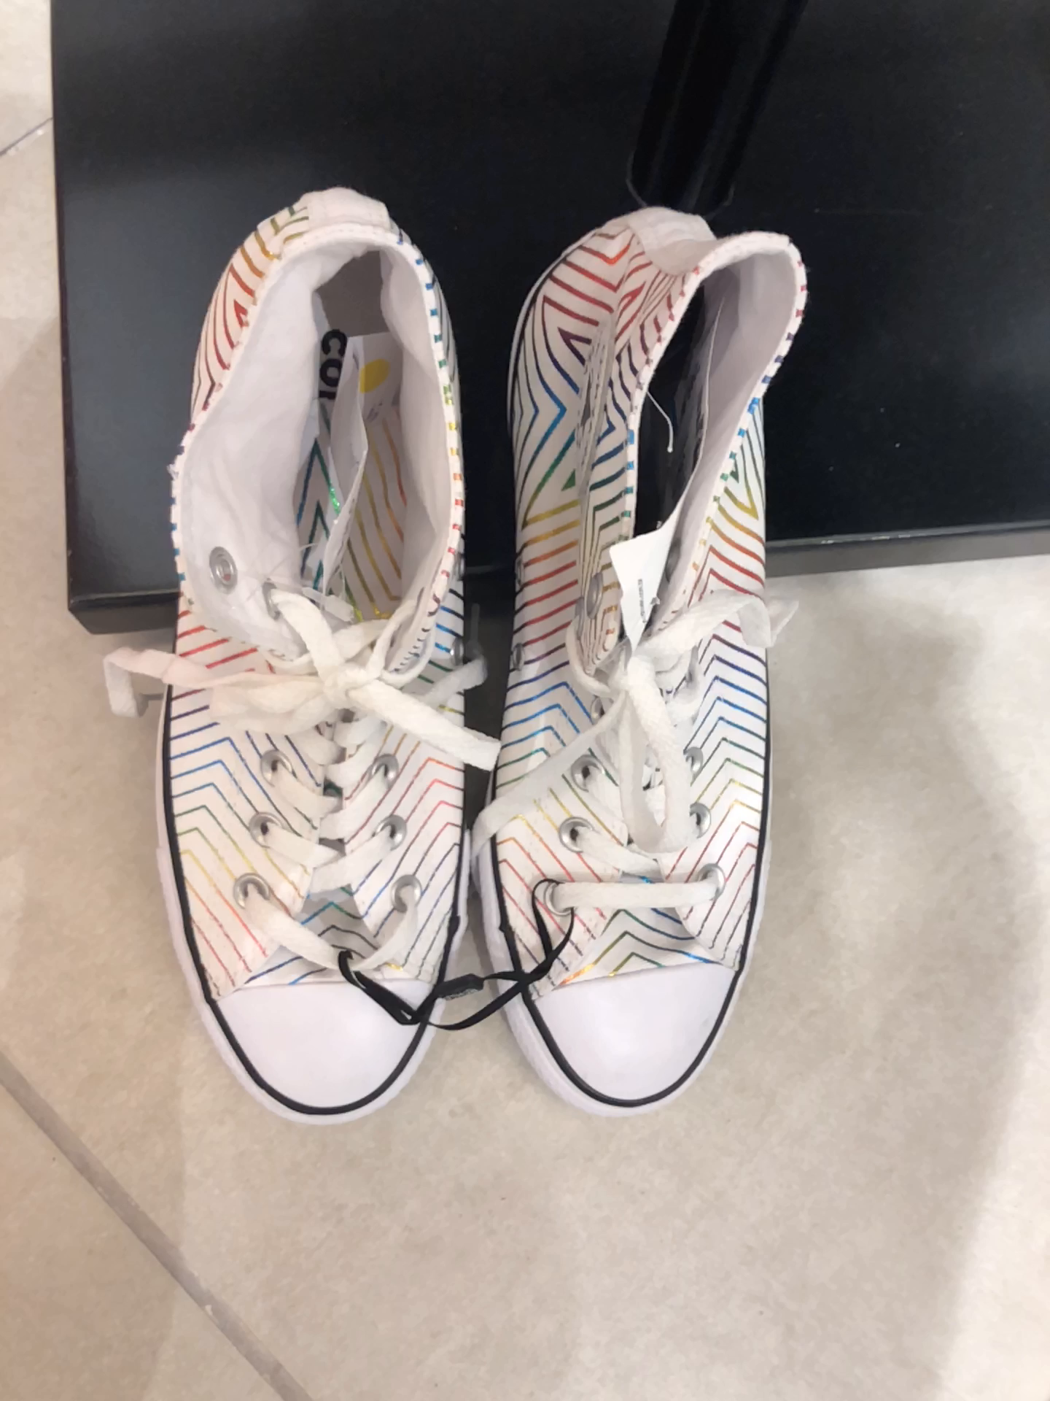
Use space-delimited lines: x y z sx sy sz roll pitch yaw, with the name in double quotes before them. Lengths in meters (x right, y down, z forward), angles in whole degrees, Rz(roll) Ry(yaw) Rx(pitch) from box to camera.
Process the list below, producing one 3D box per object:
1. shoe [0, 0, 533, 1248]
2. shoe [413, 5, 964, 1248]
"shoe" -0.071 -0.022 0.353 0.120 0.140 0.300 -3 94 -7
"shoe" 0.034 -0.021 0.357 0.120 0.140 0.300 -3 88 -7
